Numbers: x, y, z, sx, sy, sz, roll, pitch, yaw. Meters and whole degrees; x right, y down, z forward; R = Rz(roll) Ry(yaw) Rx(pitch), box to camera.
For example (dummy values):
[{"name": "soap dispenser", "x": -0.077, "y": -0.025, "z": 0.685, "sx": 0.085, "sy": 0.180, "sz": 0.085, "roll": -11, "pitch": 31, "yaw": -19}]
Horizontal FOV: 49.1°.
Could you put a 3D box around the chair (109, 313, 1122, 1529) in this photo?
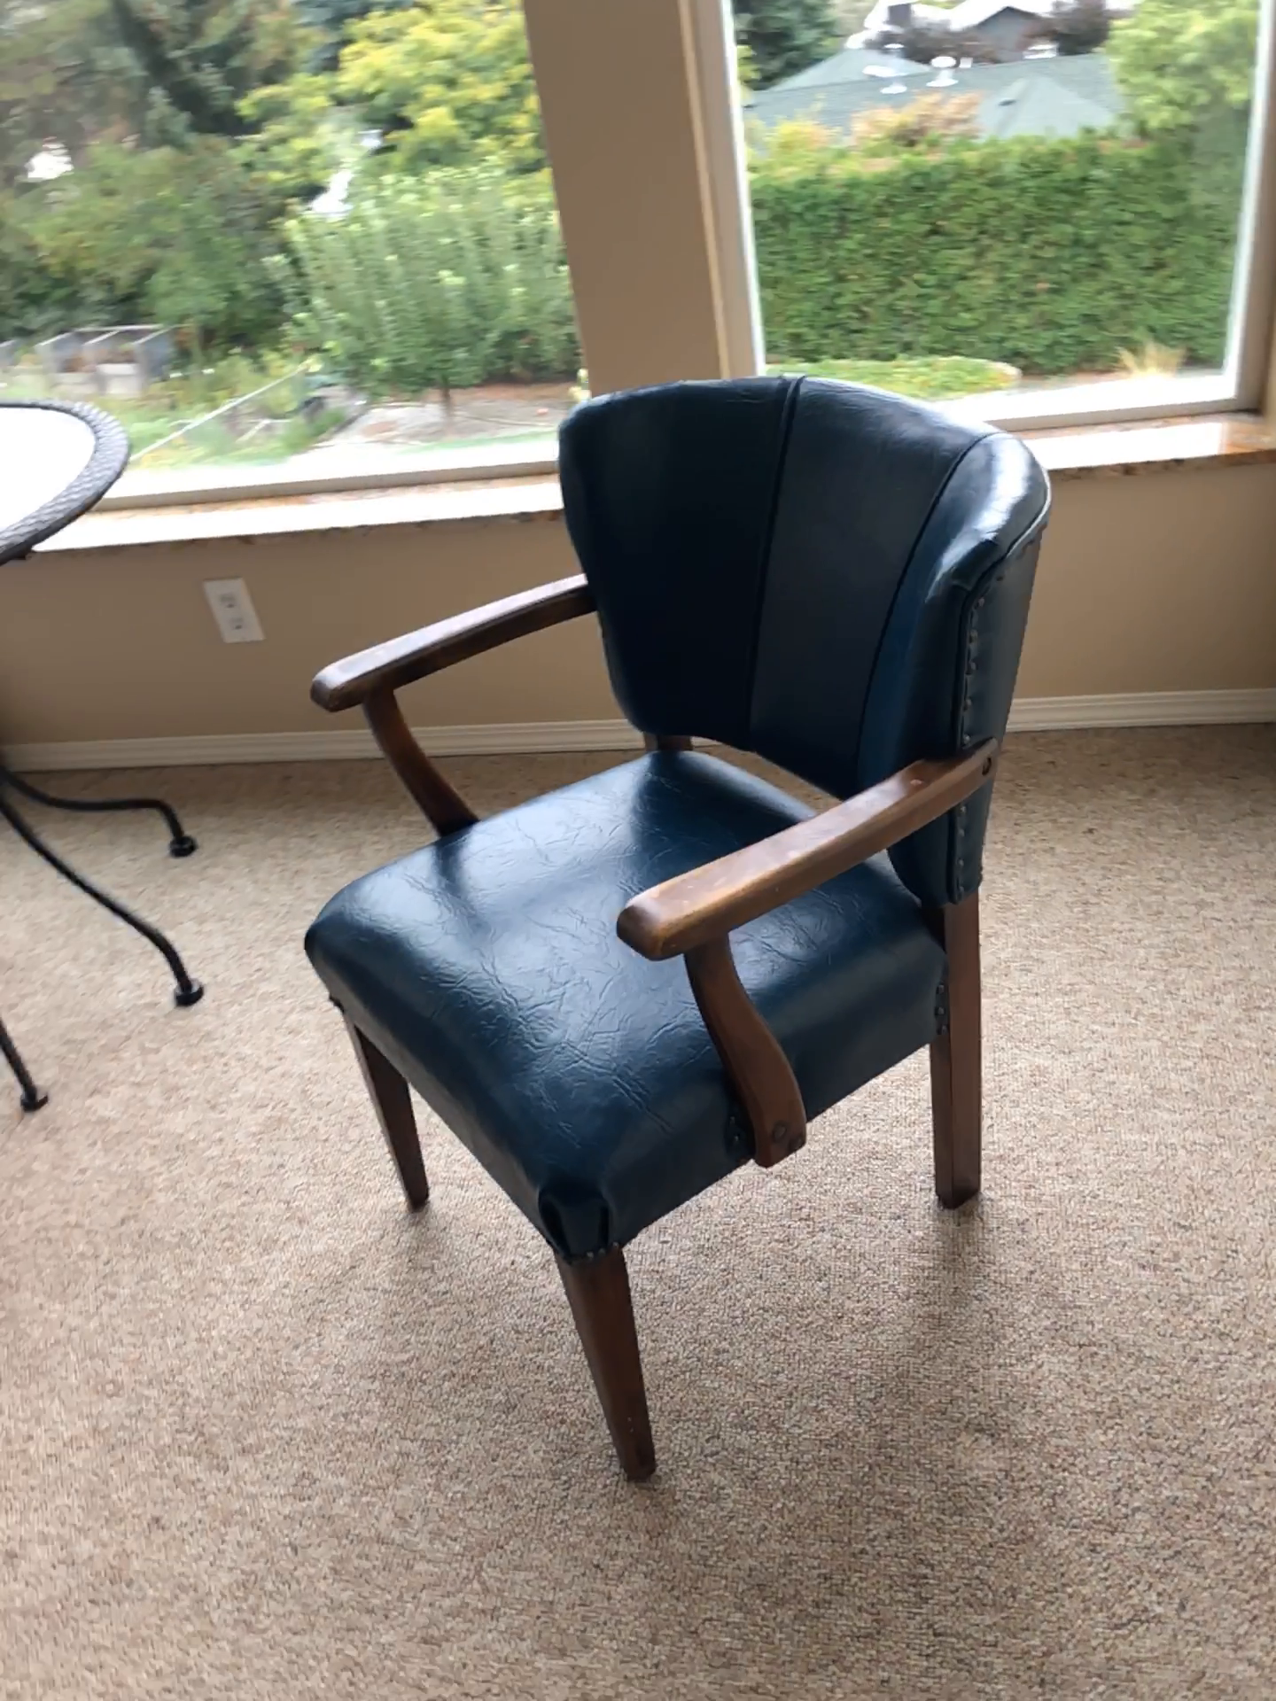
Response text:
[{"name": "chair", "x": 0.017, "y": 0.038, "z": 1.277, "sx": 0.560, "sy": 0.797, "sz": 0.532, "roll": -30, "pitch": 41, "yaw": -23}]
